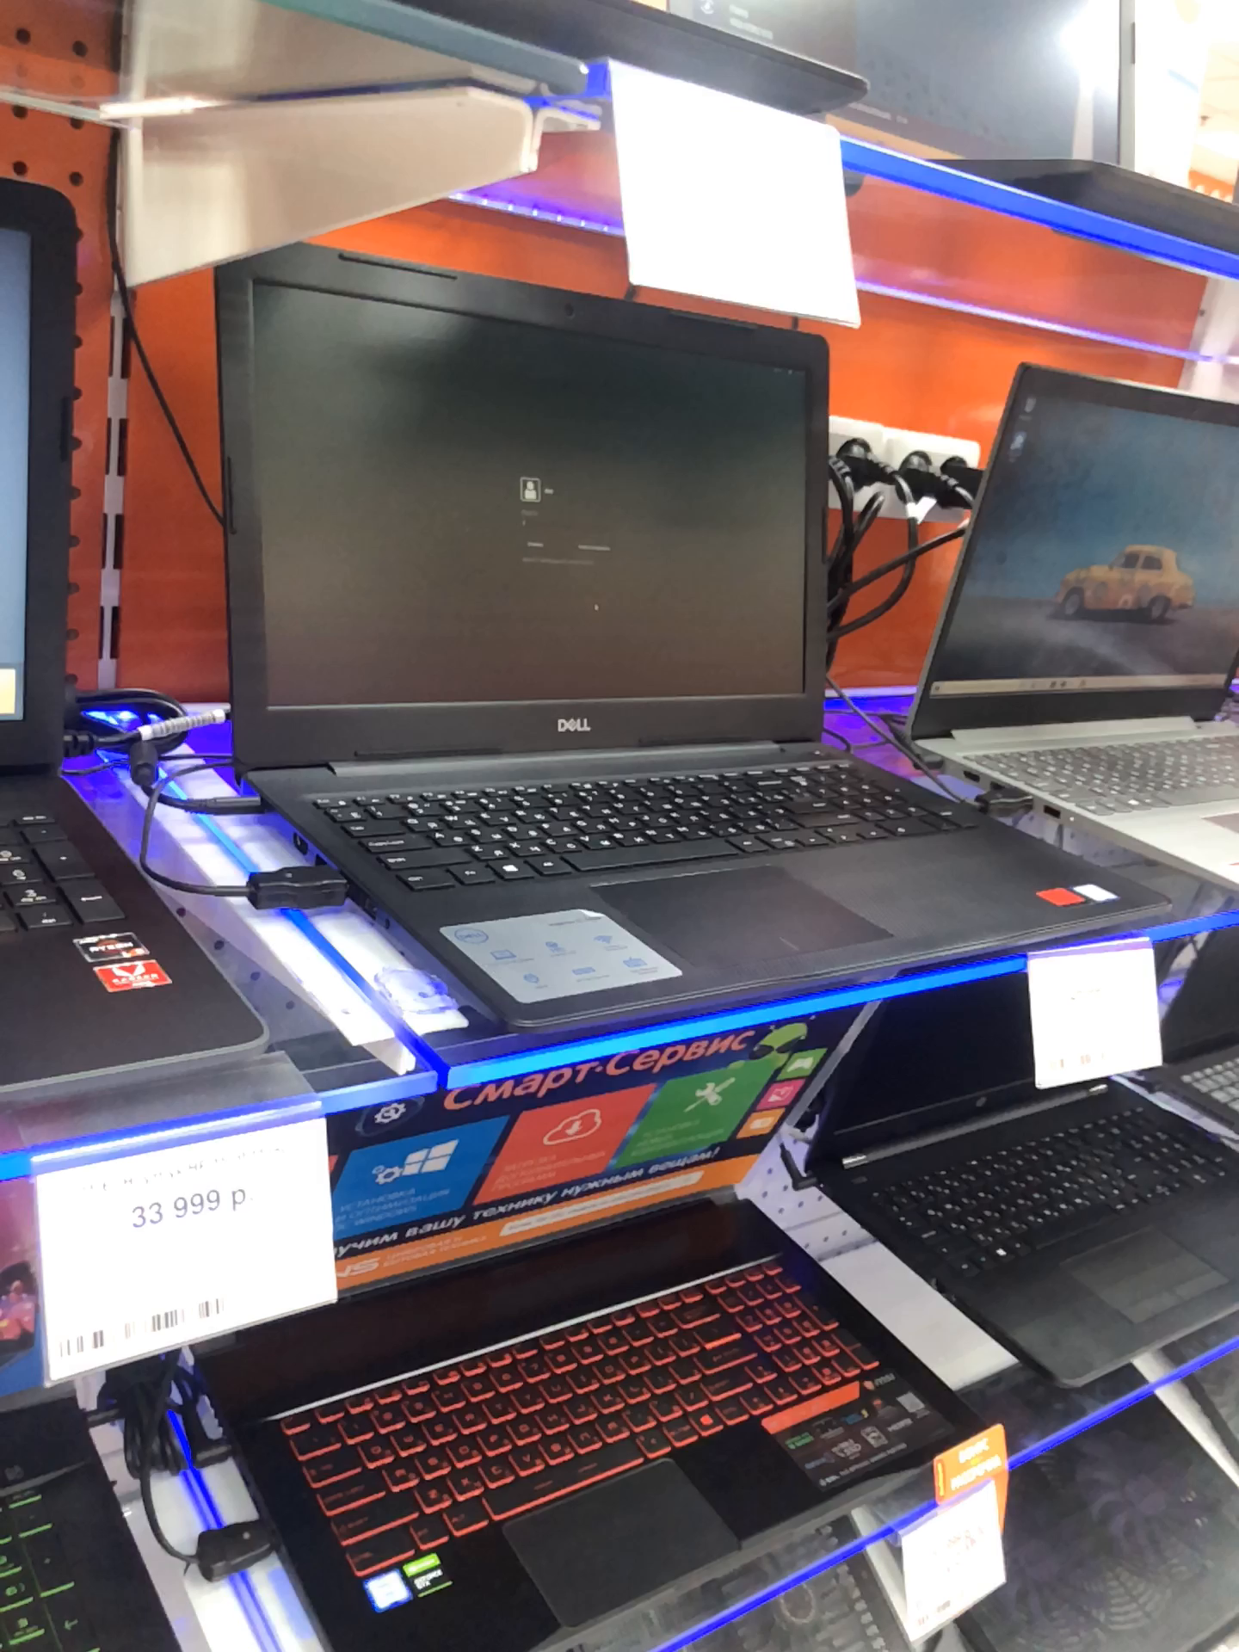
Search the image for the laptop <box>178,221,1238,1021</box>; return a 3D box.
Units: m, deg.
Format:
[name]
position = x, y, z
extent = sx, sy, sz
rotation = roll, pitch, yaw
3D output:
[laptop]
position = 0.040, -0.116, 0.636
extent = 0.374, 0.233, 0.317
rotation = -5, 23, -37
